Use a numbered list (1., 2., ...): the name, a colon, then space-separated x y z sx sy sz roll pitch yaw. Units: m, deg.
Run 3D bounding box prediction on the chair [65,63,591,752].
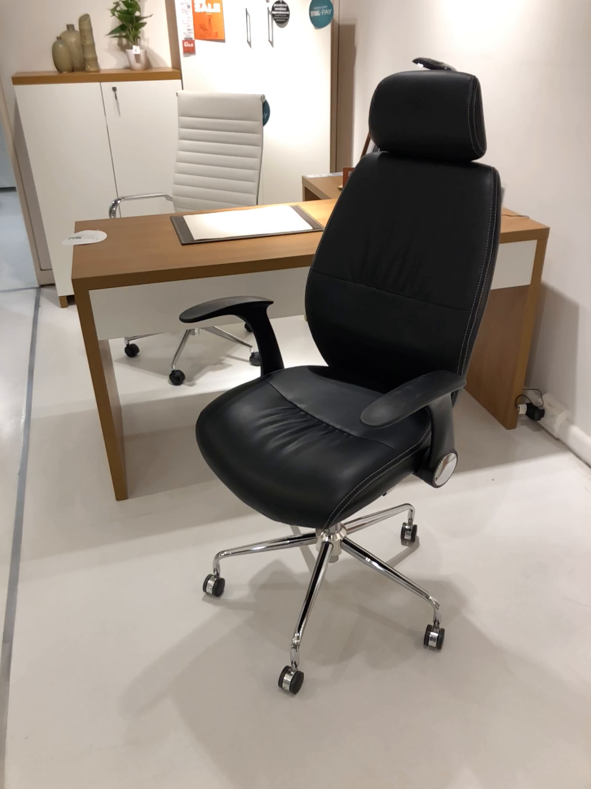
1. chair: 0.075 -0.020 1.540 0.713 1.300 0.693 -26 38 -35
